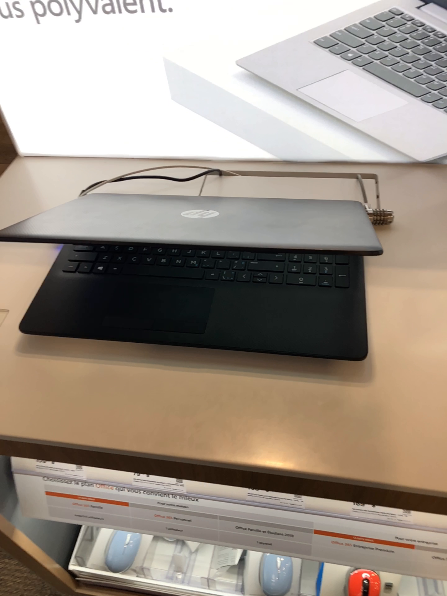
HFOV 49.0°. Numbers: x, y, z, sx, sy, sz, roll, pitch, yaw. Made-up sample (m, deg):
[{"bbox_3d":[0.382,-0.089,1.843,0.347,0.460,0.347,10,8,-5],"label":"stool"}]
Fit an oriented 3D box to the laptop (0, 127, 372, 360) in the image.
[{"bbox_3d":[-0.030,-0.077,0.540,0.352,0.107,0.239,4,48,11],"label":"laptop"}]
